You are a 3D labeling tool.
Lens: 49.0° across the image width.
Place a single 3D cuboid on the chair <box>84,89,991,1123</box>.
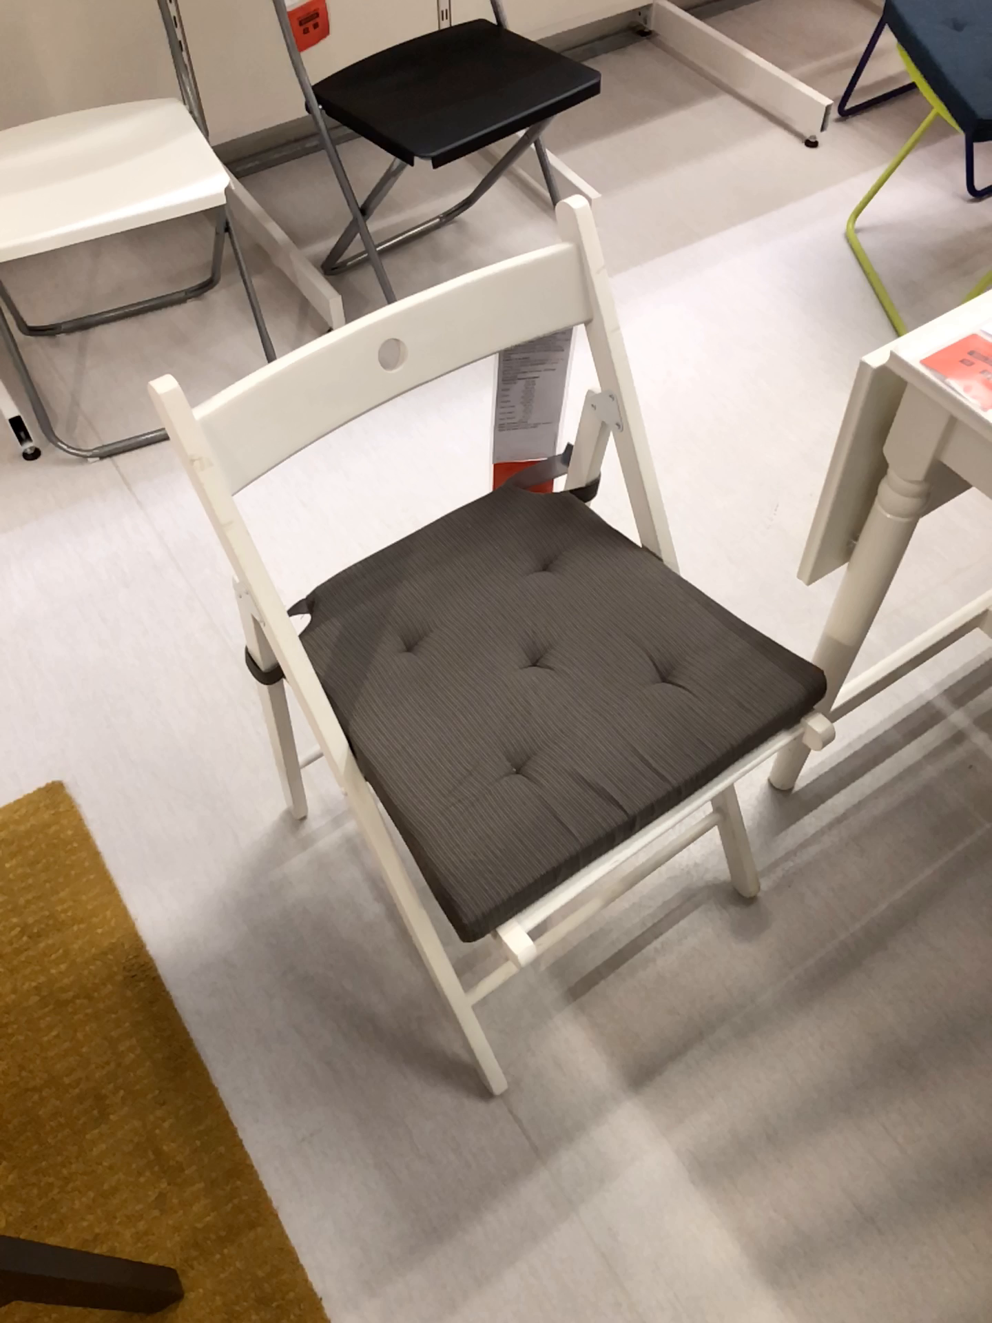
[{"bbox_3d":[0.040,0.000,0.970,0.441,0.696,0.452,-31,60,-19],"label":"chair"}]
